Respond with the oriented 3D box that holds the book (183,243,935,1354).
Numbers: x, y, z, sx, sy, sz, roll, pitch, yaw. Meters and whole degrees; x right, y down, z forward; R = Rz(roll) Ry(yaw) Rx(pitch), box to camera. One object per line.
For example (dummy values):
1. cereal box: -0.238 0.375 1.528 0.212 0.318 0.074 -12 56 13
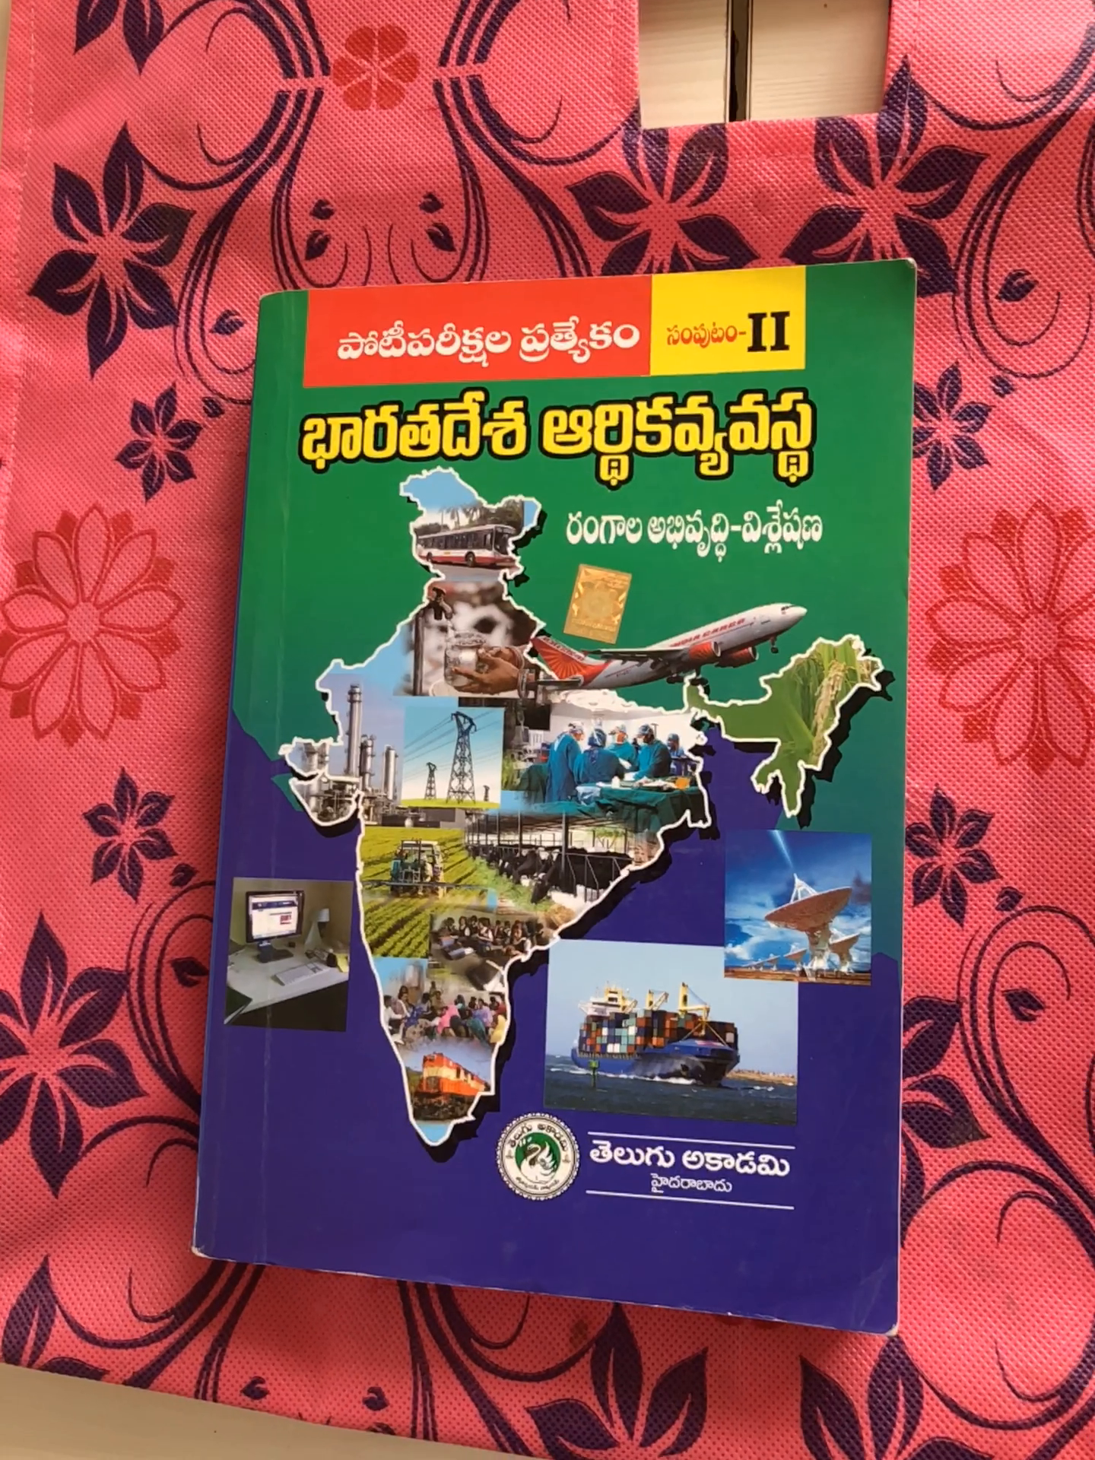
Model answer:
1. book: 0.005 0.011 0.342 0.190 0.040 0.280 2 85 10
